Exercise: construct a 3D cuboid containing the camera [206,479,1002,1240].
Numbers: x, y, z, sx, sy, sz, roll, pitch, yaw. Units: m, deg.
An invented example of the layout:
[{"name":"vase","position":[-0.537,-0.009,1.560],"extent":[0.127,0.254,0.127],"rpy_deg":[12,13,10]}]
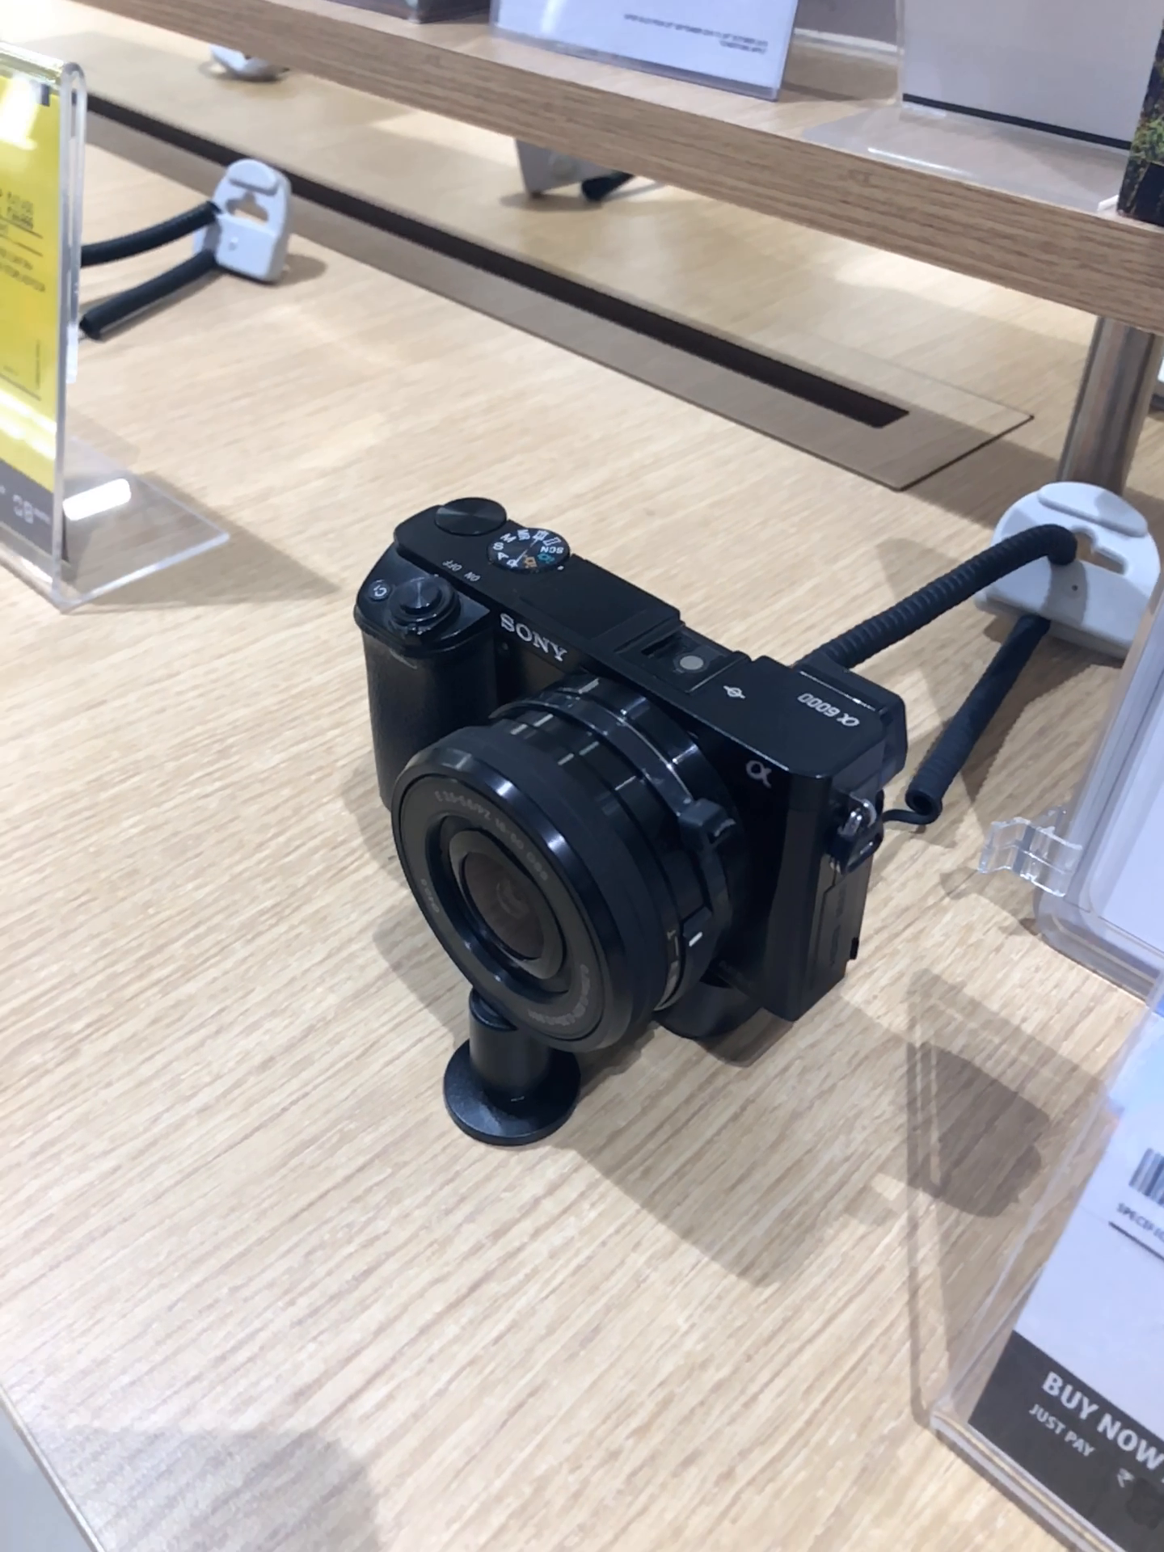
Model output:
[{"name":"camera","position":[-0.001,0.007,0.253],"extent":[0.130,0.070,0.070],"rpy_deg":[33,49,33]}]
